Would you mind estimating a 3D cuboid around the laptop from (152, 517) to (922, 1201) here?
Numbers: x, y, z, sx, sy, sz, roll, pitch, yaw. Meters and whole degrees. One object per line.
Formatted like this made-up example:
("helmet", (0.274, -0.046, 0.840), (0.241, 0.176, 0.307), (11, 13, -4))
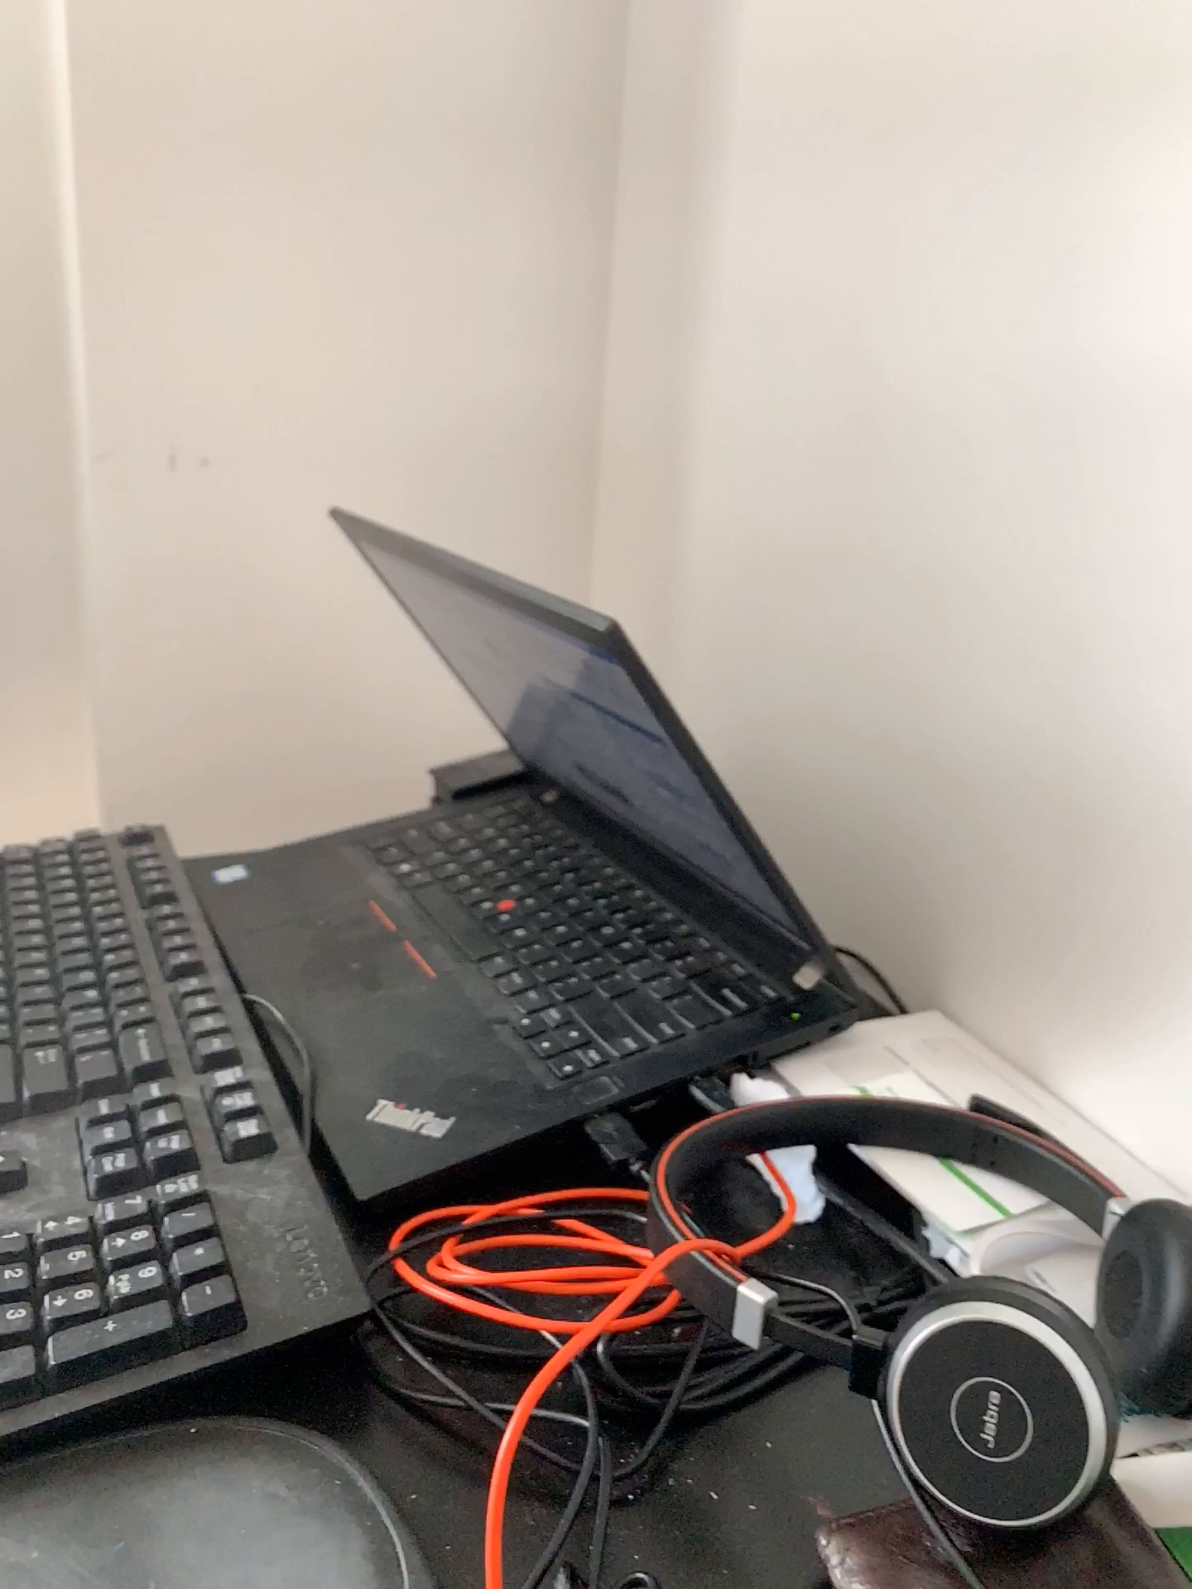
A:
("laptop", (-0.061, -0.013, 0.607), (0.236, 0.172, 0.335), (-11, 23, -26))
